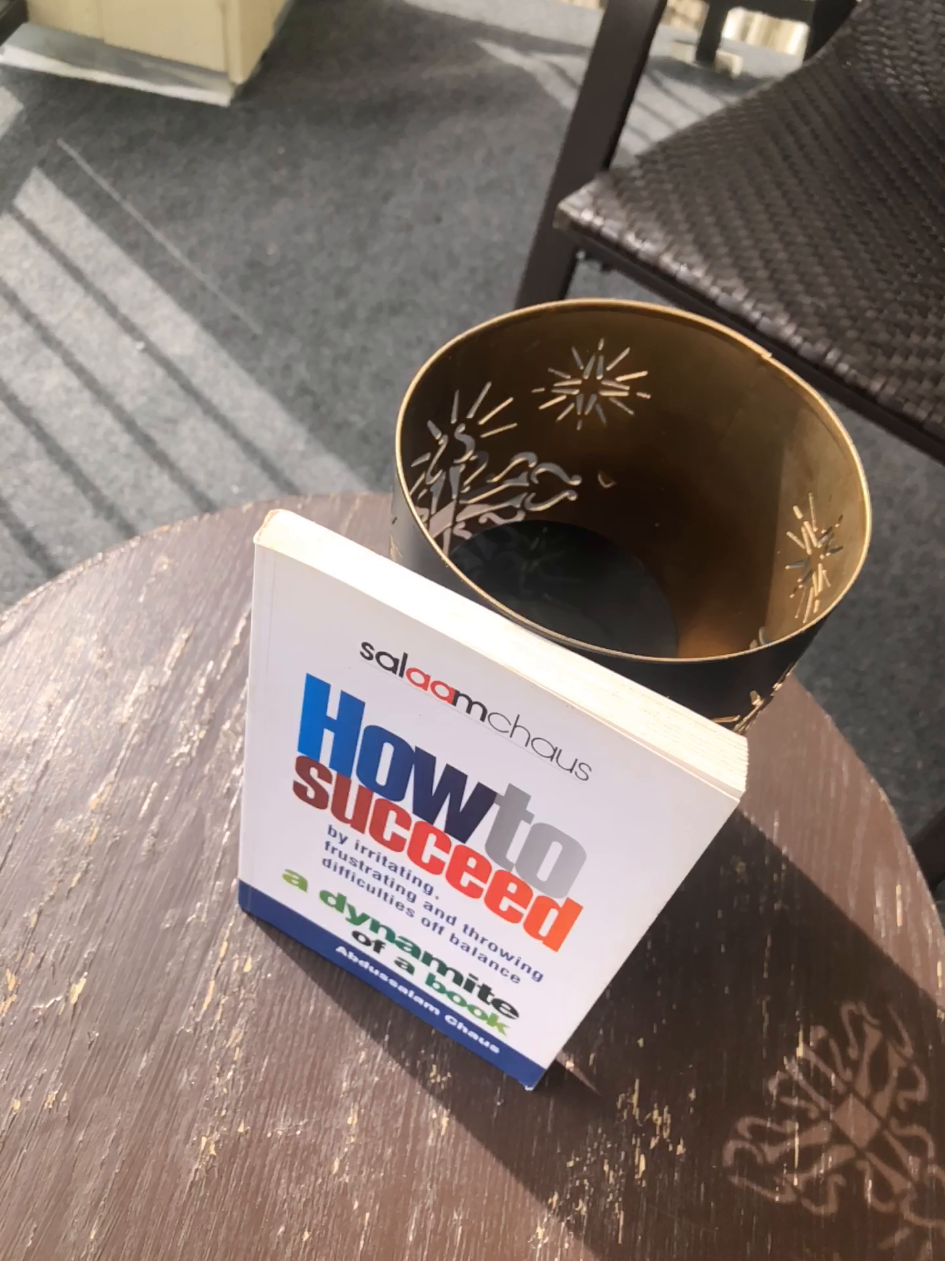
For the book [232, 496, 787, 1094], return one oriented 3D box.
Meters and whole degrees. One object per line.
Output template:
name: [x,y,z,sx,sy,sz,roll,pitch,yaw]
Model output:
book: [-0.010,0.069,0.332,0.138,0.208,0.018,28,49,9]
